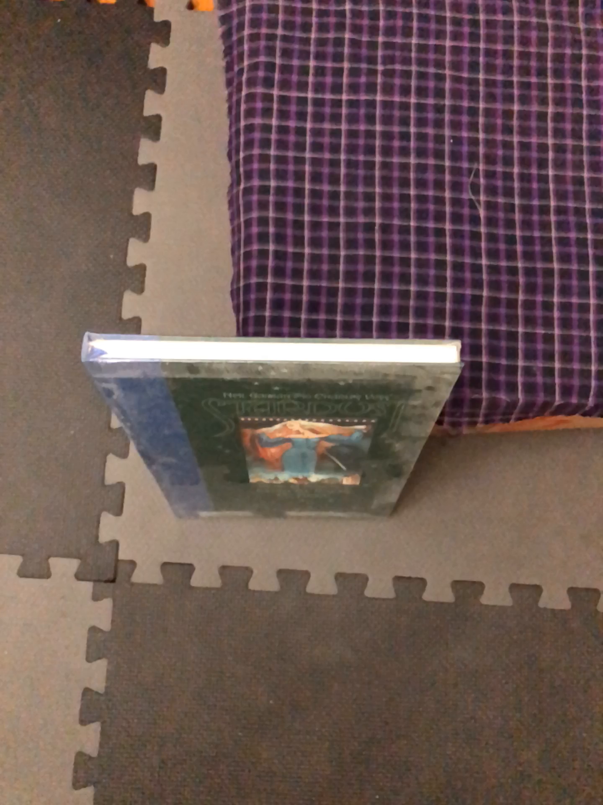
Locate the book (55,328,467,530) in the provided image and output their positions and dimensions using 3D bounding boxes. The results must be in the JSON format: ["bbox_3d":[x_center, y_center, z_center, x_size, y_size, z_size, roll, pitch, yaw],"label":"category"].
[{"bbox_3d":[-0.020,0.041,0.494,0.210,0.329,0.020,1,65,1],"label":"book"}]
